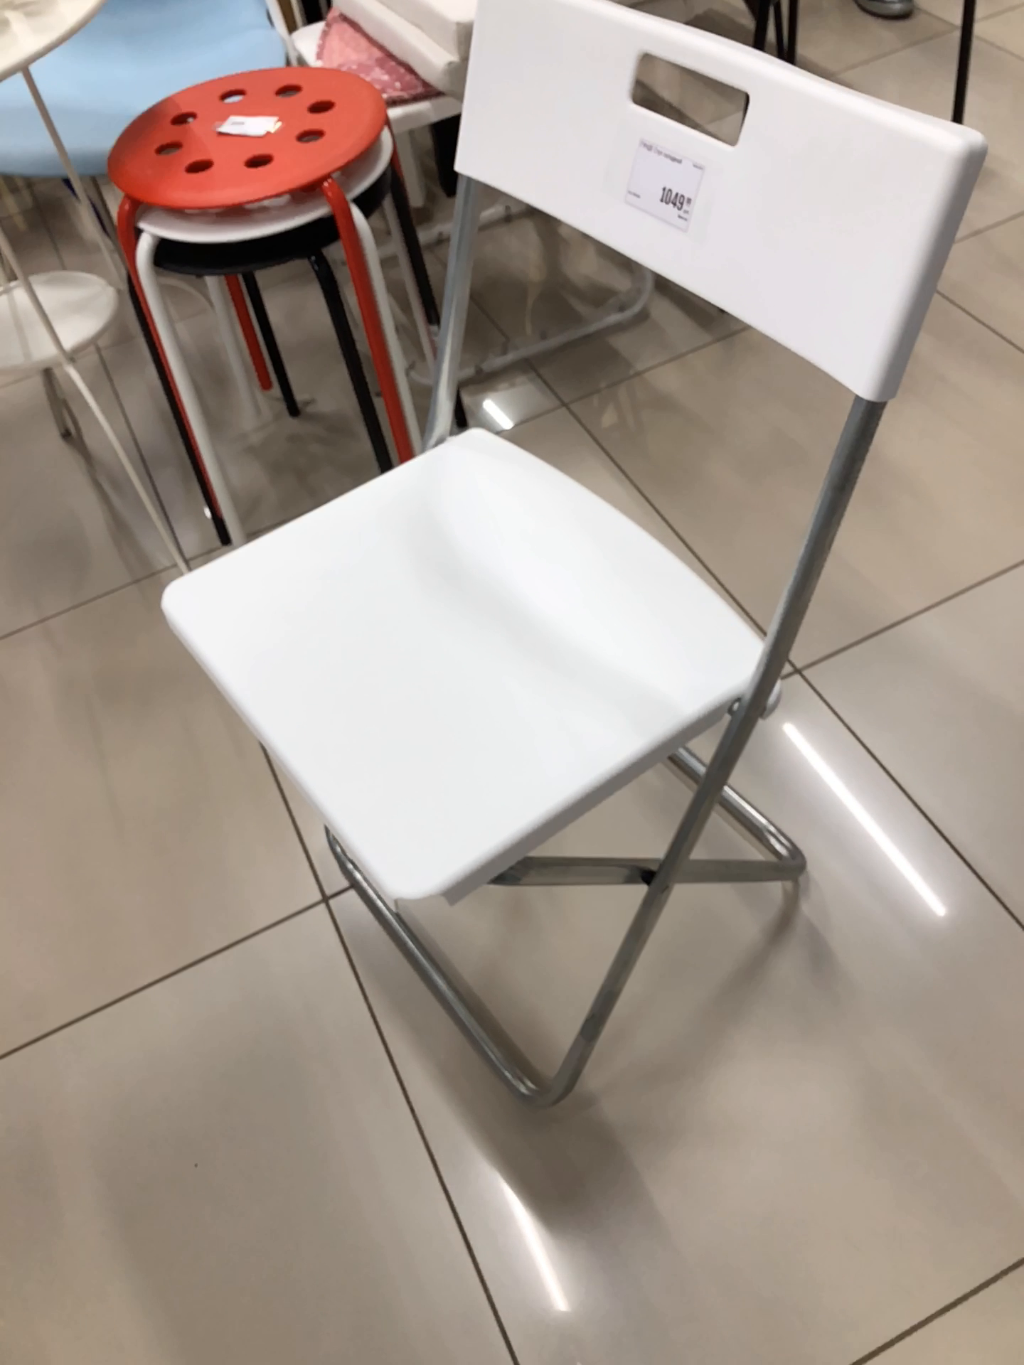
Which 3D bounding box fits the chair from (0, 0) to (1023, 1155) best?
[{"bbox_3d":[0.002,-0.051,0.882,0.431,0.711,0.427,-34,53,-17],"label":"chair"}]
